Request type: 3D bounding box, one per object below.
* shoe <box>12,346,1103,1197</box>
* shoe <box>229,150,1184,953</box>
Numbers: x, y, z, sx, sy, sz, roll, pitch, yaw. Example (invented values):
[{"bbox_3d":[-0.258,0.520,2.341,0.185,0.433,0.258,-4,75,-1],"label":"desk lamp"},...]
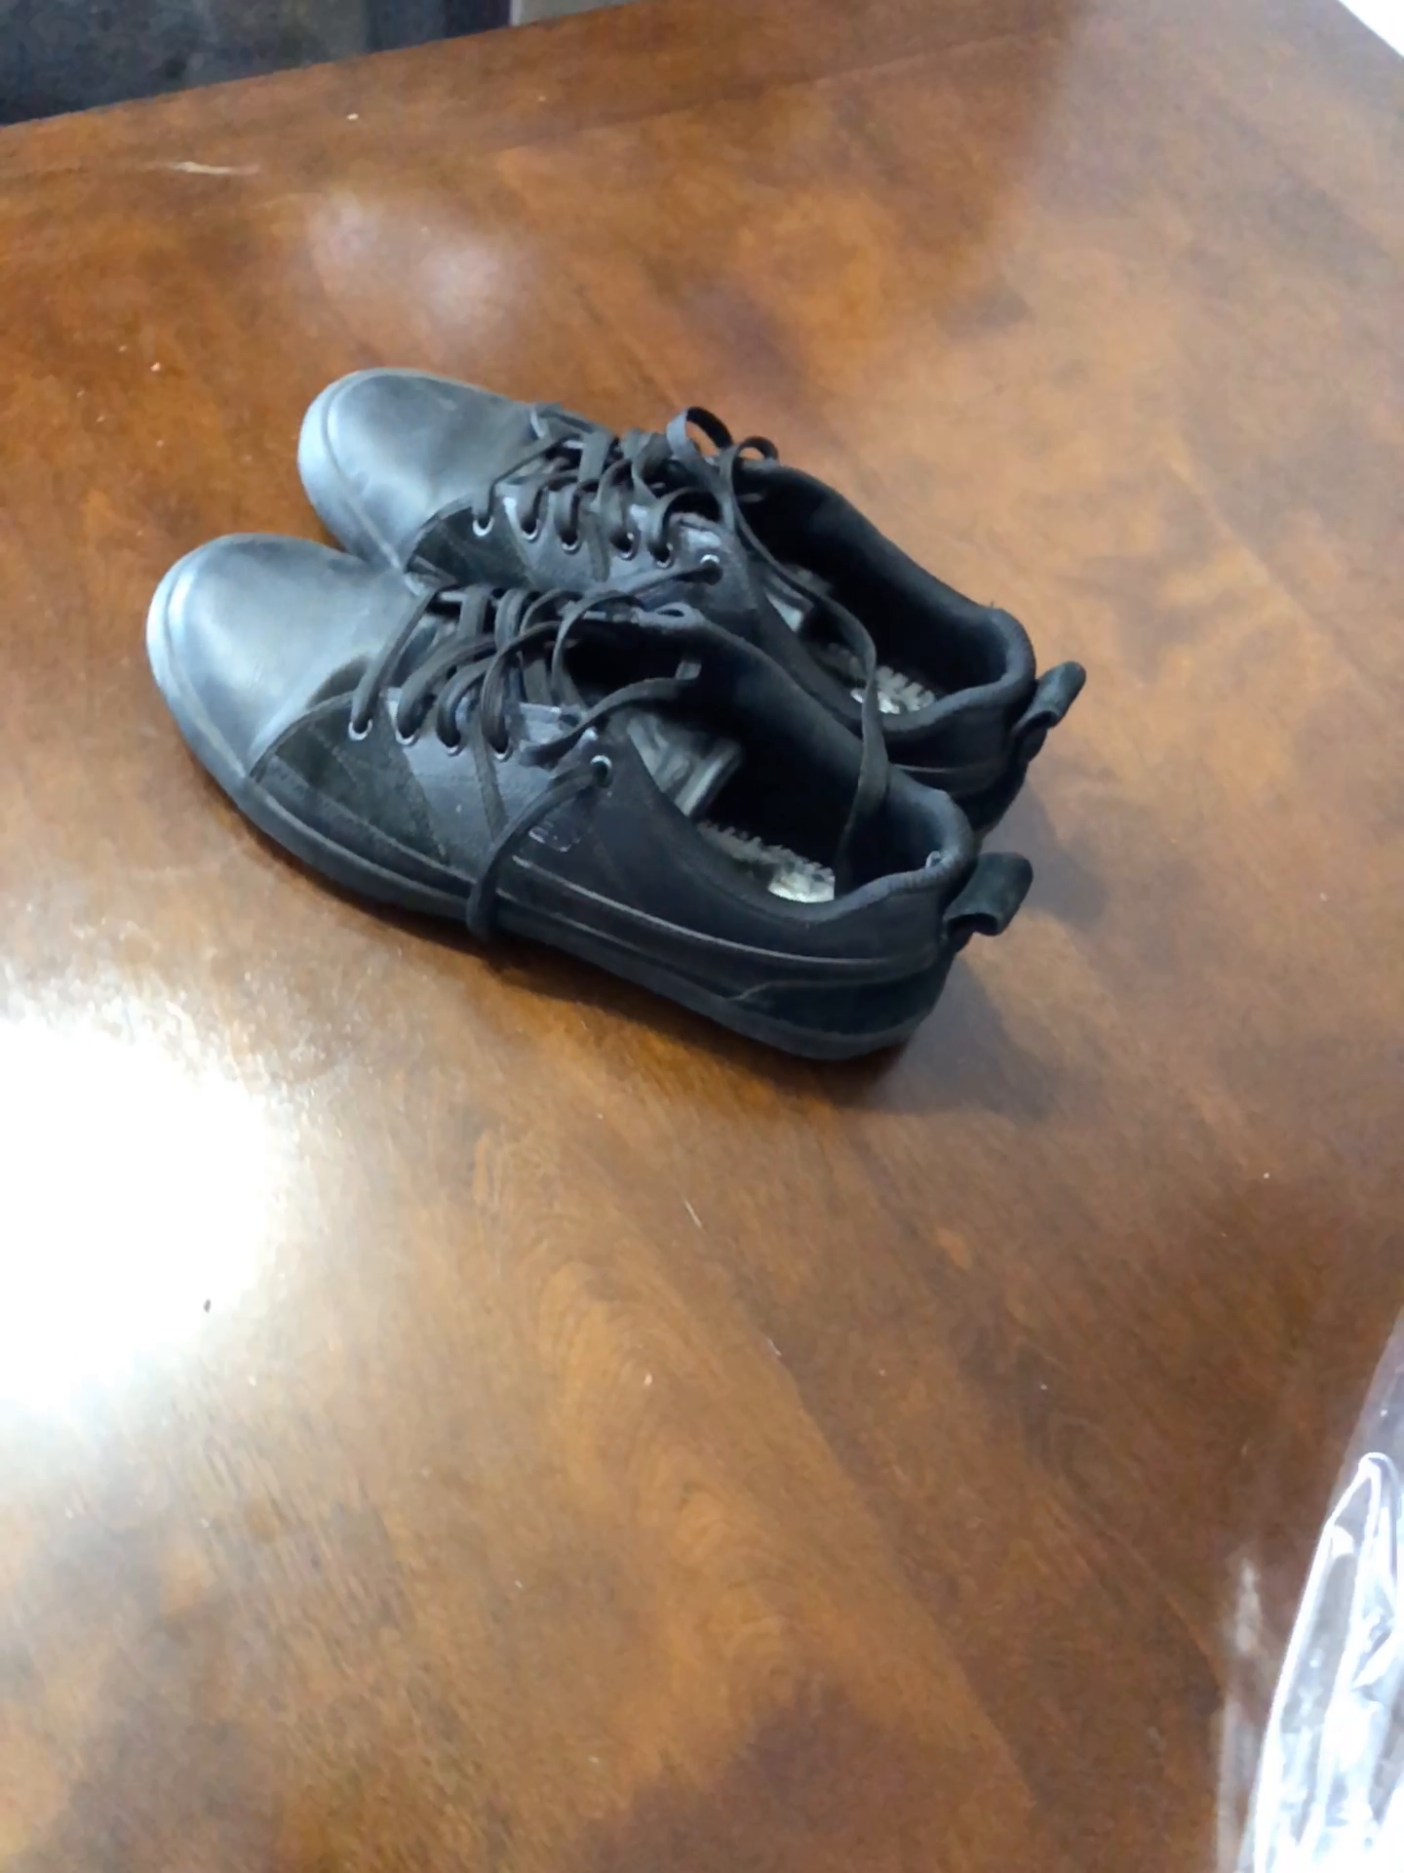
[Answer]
[{"bbox_3d":[-0.046,-0.051,0.499,0.300,0.110,0.110,27,60,5],"label":"shoe"},{"bbox_3d":[-0.005,-0.136,0.553,0.300,0.110,0.110,31,60,7],"label":"shoe"}]
